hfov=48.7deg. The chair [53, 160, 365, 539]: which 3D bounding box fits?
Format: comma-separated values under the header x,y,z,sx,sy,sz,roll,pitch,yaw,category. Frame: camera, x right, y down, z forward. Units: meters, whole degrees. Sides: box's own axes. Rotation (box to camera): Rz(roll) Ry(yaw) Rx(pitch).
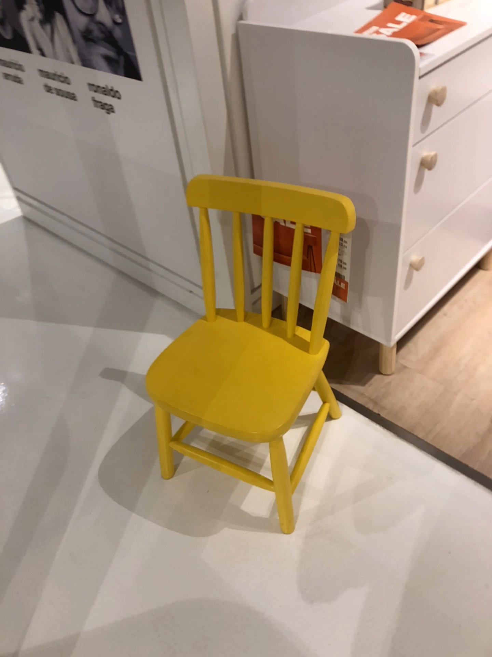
x,y,z,sx,sy,sz,roll,pitch,yaw,category
-0.017,0.040,1.076,0.381,0.576,0.372,14,46,23,chair
